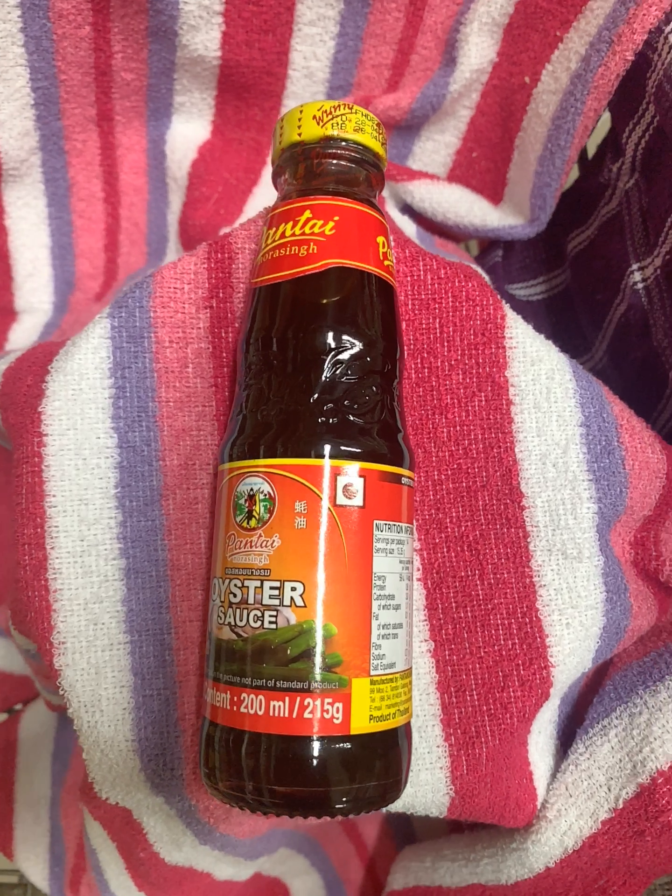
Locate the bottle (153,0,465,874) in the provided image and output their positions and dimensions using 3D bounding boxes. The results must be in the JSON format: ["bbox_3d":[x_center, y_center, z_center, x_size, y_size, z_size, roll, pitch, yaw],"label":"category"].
[{"bbox_3d":[-0.001,-0.010,0.180,0.050,0.050,0.190,-4,78,32],"label":"bottle"}]
